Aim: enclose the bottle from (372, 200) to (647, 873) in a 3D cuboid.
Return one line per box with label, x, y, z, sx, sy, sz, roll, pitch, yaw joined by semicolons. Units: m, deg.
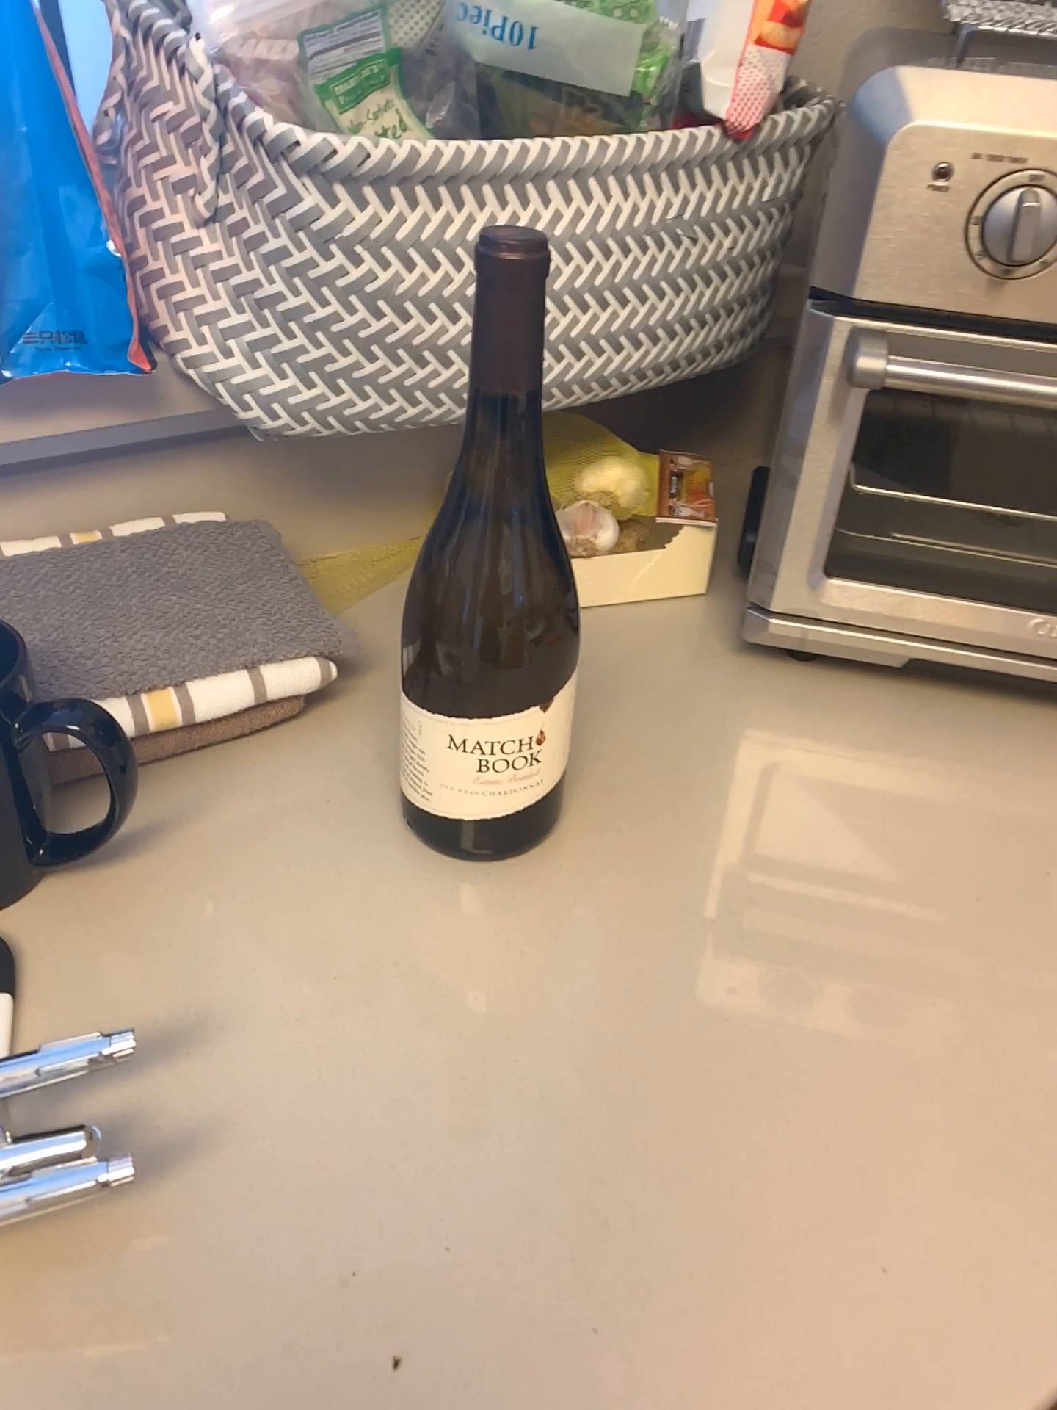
bottle;-0.020;-0.067;0.503;0.090;0.288;0.101;-4;36;-11
